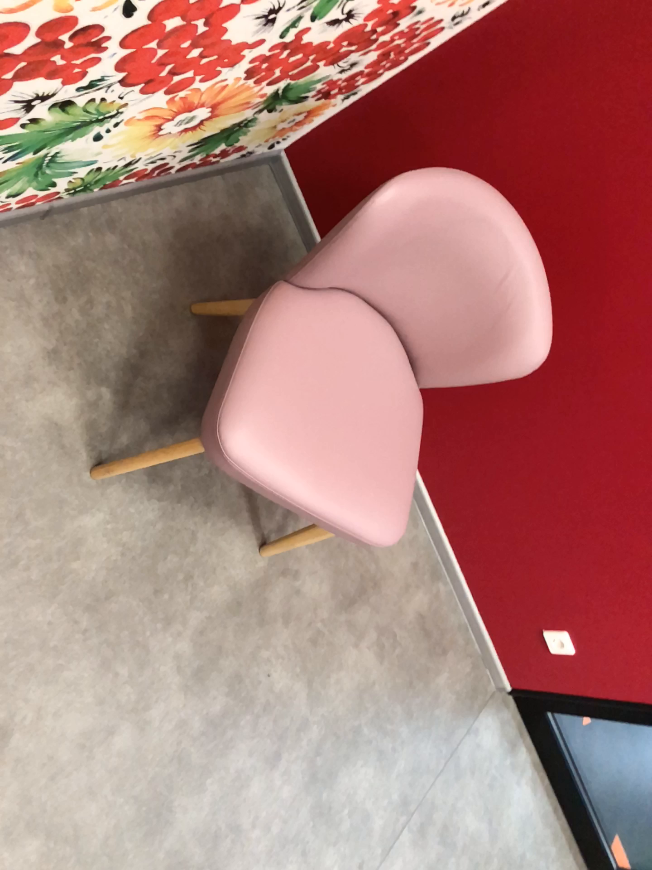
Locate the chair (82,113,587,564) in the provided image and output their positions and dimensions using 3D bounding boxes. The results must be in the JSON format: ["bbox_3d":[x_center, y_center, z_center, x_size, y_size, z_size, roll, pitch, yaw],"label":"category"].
[{"bbox_3d":[0.013,-0.096,1.437,0.512,0.786,0.541,33,59,-36],"label":"chair"}]
